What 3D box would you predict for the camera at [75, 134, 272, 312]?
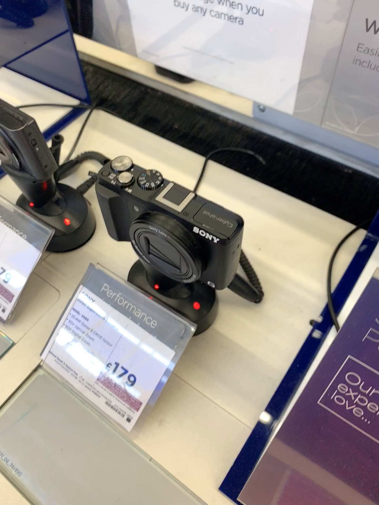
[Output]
[{"bbox_3d":[-0.010,-0.019,0.254,0.110,0.069,0.040,28,62,21],"label":"camera"}]
